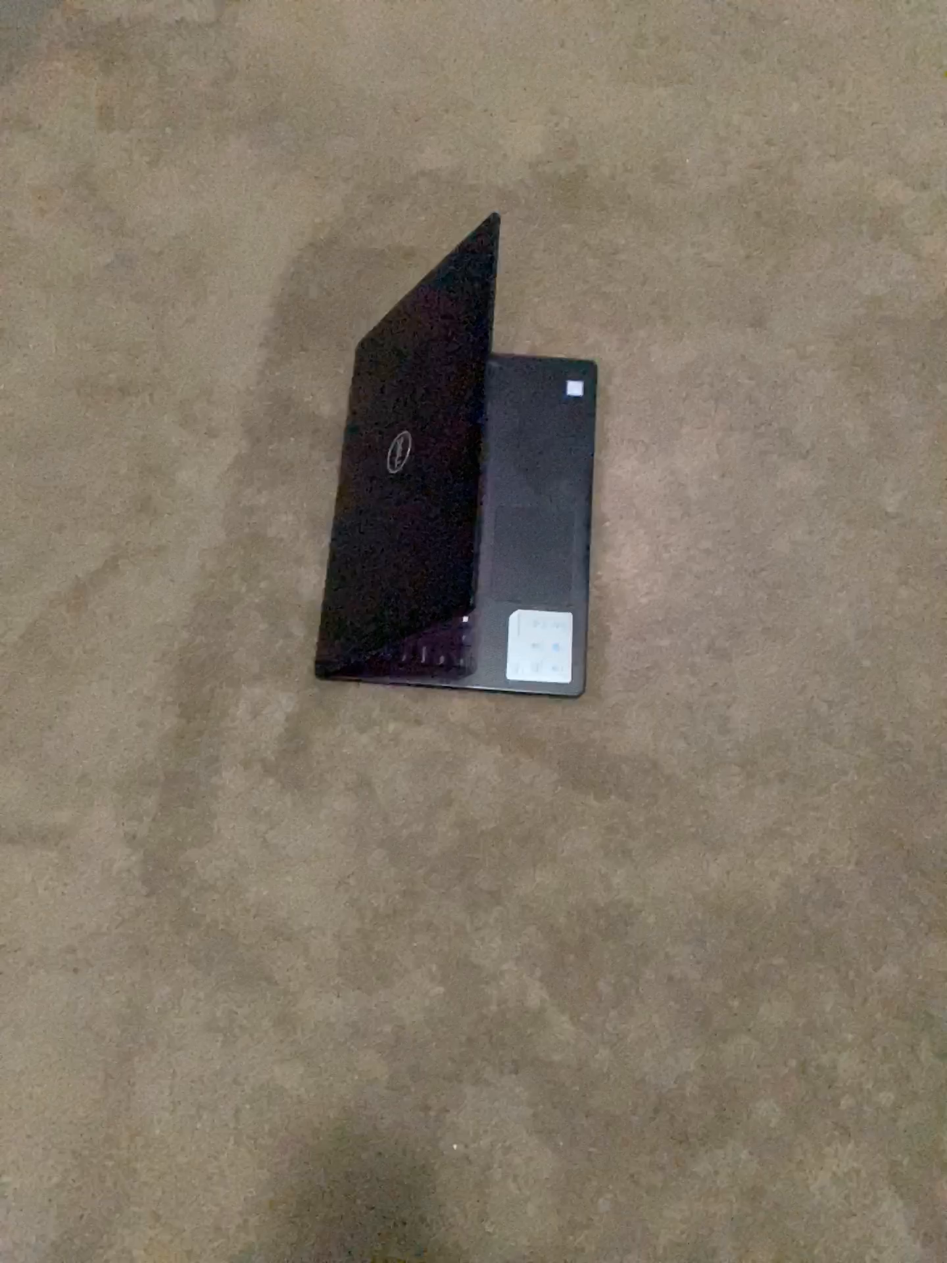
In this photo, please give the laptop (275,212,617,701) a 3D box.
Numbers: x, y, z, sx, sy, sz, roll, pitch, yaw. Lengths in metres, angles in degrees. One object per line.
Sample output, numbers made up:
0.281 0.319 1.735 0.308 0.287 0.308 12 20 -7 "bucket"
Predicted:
-0.010 -0.154 0.891 0.251 0.202 0.377 5 69 0 "laptop"
